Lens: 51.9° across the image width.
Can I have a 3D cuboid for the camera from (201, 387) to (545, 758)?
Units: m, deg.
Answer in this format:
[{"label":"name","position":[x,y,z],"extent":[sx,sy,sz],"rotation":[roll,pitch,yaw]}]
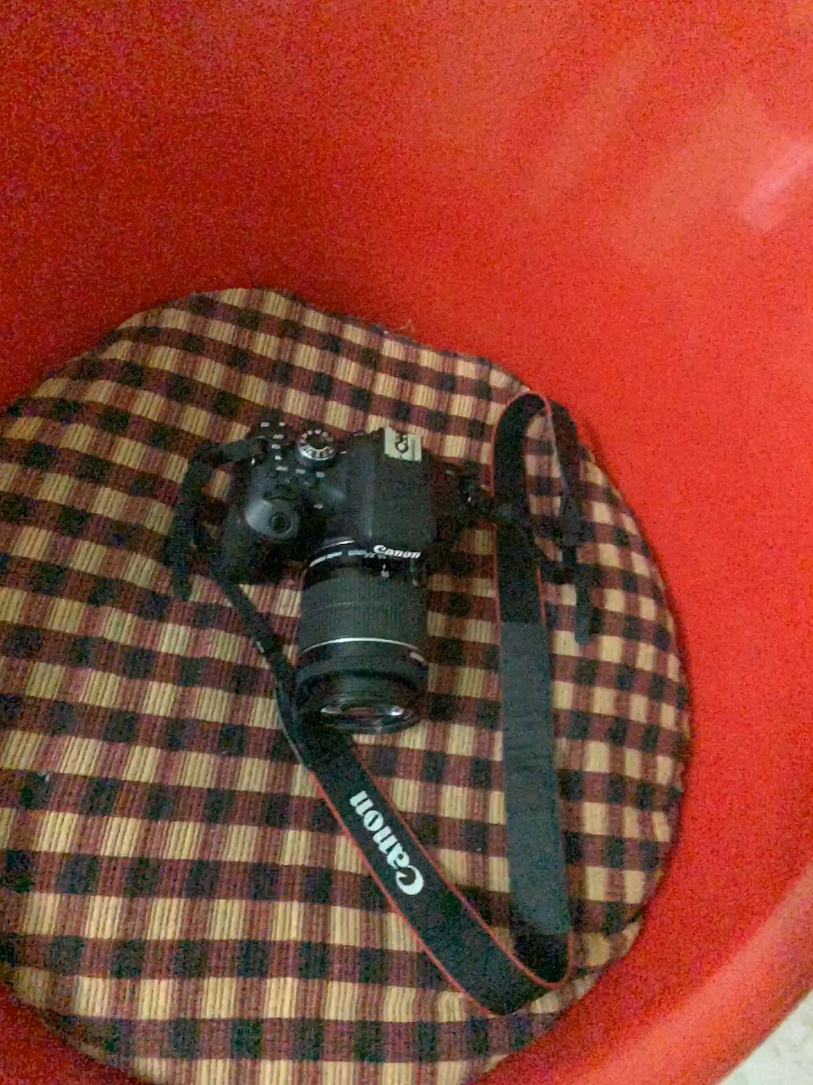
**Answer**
[{"label":"camera","position":[-0.020,0.026,0.442],"extent":[0.140,0.130,0.138],"rotation":[11,64,-16]}]
